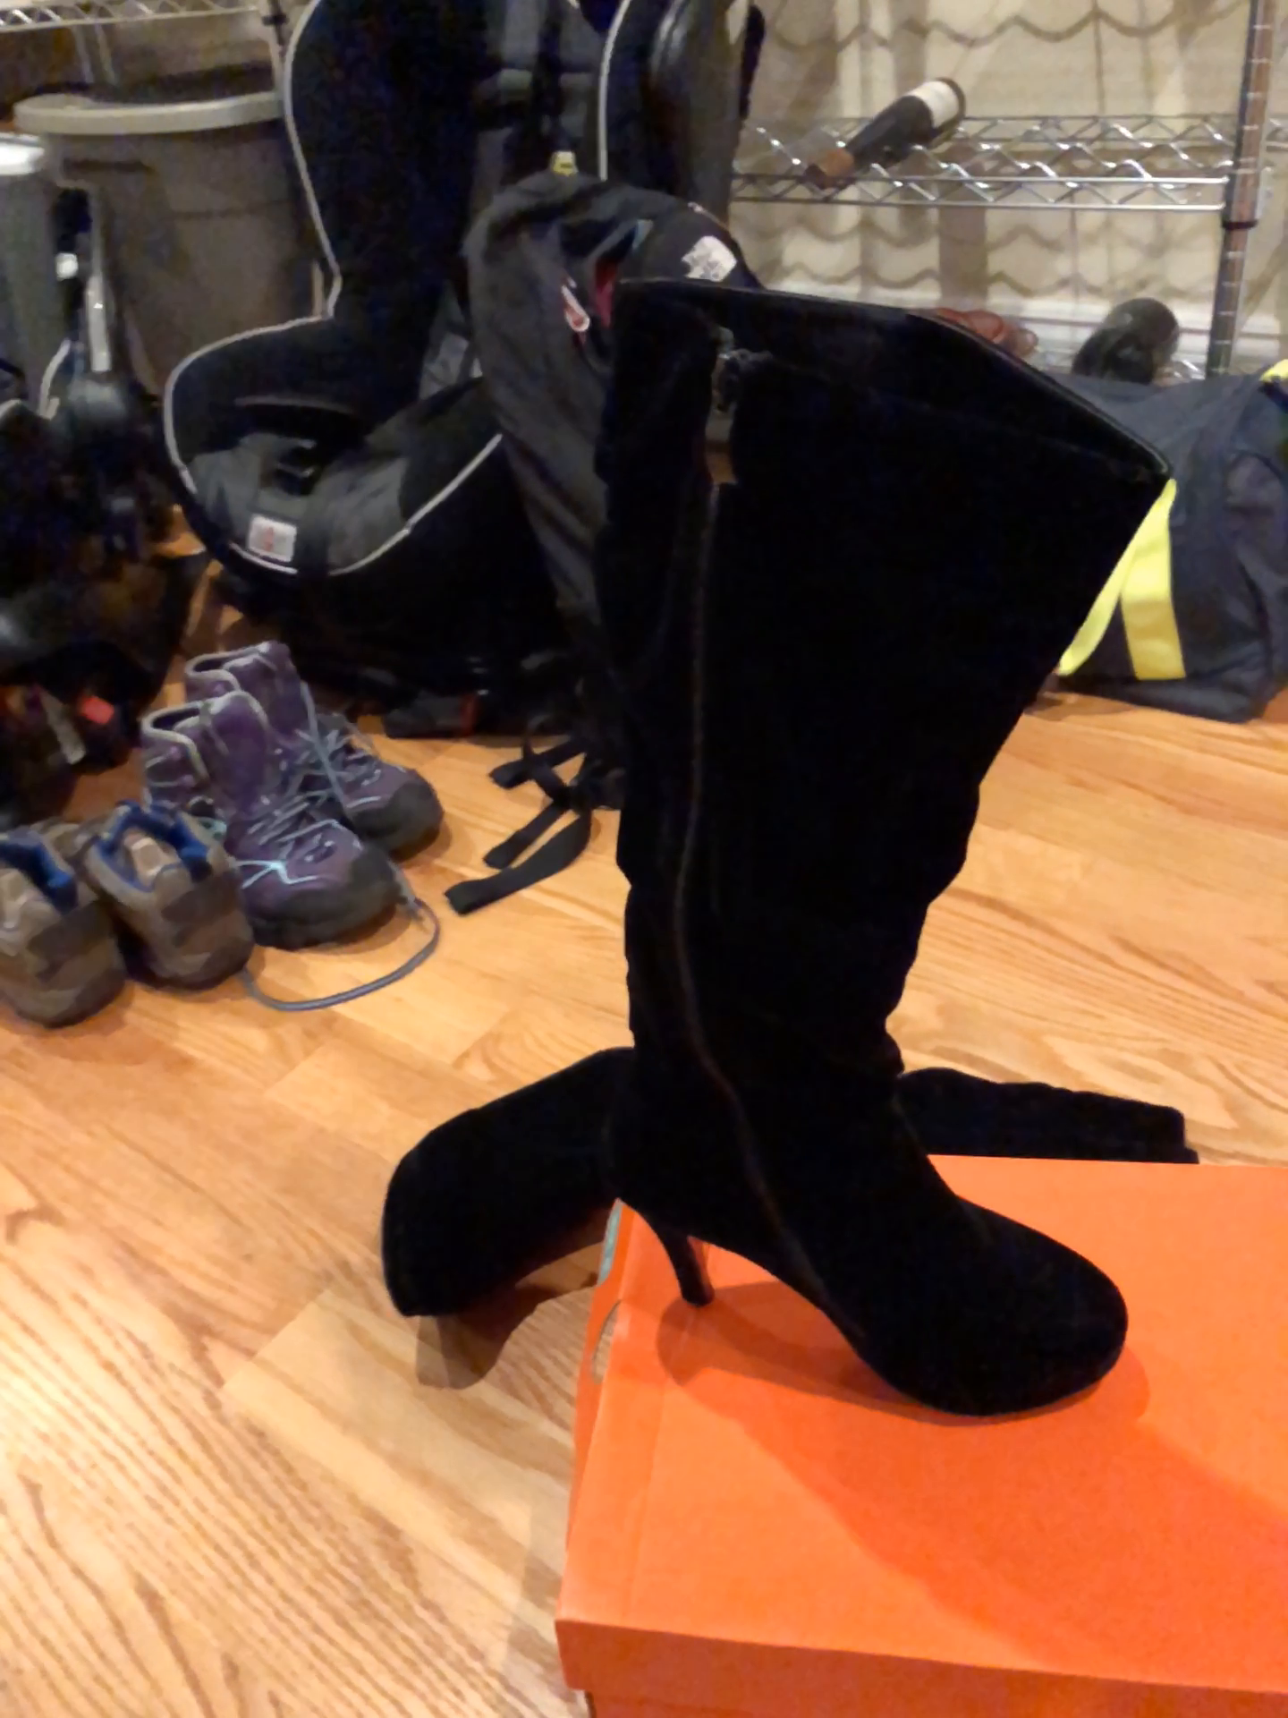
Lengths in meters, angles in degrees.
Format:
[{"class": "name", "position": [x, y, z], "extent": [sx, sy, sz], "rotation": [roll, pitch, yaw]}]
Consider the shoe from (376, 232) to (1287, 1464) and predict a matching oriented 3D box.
[{"class": "shoe", "position": [0.069, 0.024, 0.462], "extent": [0.216, 0.397, 0.090], "rotation": [3, 35, 14]}]

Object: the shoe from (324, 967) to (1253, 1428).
[{"class": "shoe", "position": [0.069, 0.157, 0.723], "extent": [0.399, 0.089, 0.207], "rotation": [0, 33, 9]}]
